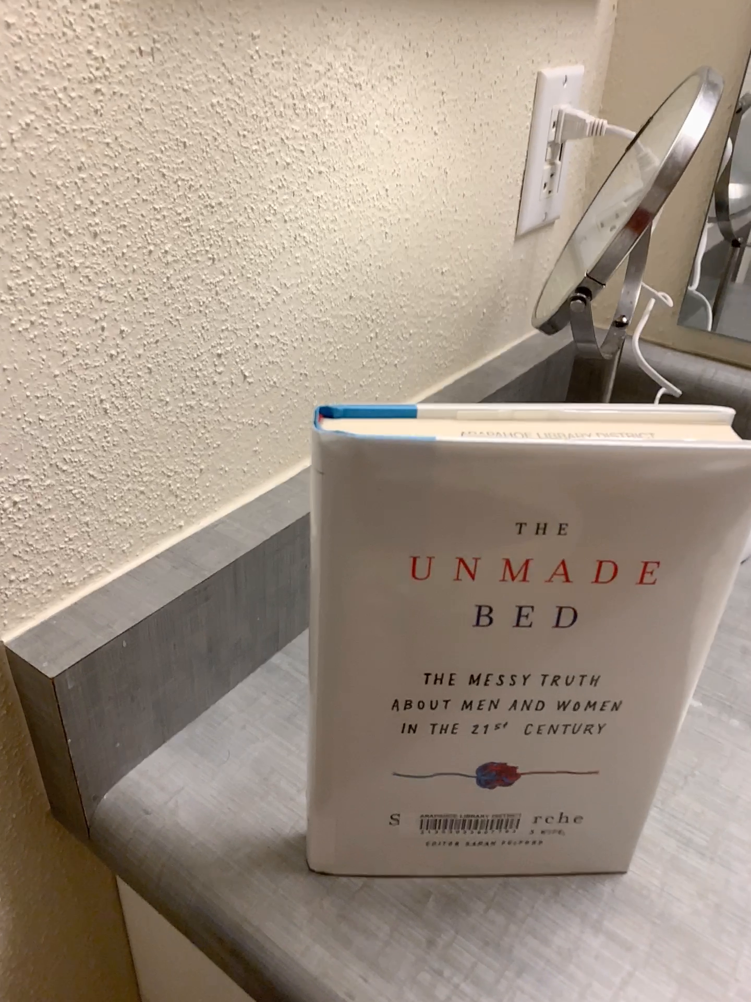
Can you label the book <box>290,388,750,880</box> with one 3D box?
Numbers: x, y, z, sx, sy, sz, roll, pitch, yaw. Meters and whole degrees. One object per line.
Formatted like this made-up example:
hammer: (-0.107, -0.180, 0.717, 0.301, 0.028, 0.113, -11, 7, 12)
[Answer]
book: (0.045, 0.065, 0.298, 0.152, 0.214, 0.033, 1, 31, -3)
